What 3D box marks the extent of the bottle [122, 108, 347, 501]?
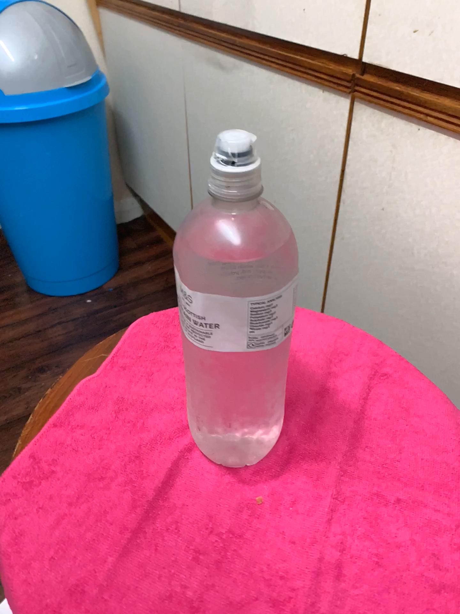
[{"bbox_3d":[0.003,0.012,0.334,0.090,0.257,0.080,31,49,33],"label":"bottle"}]
